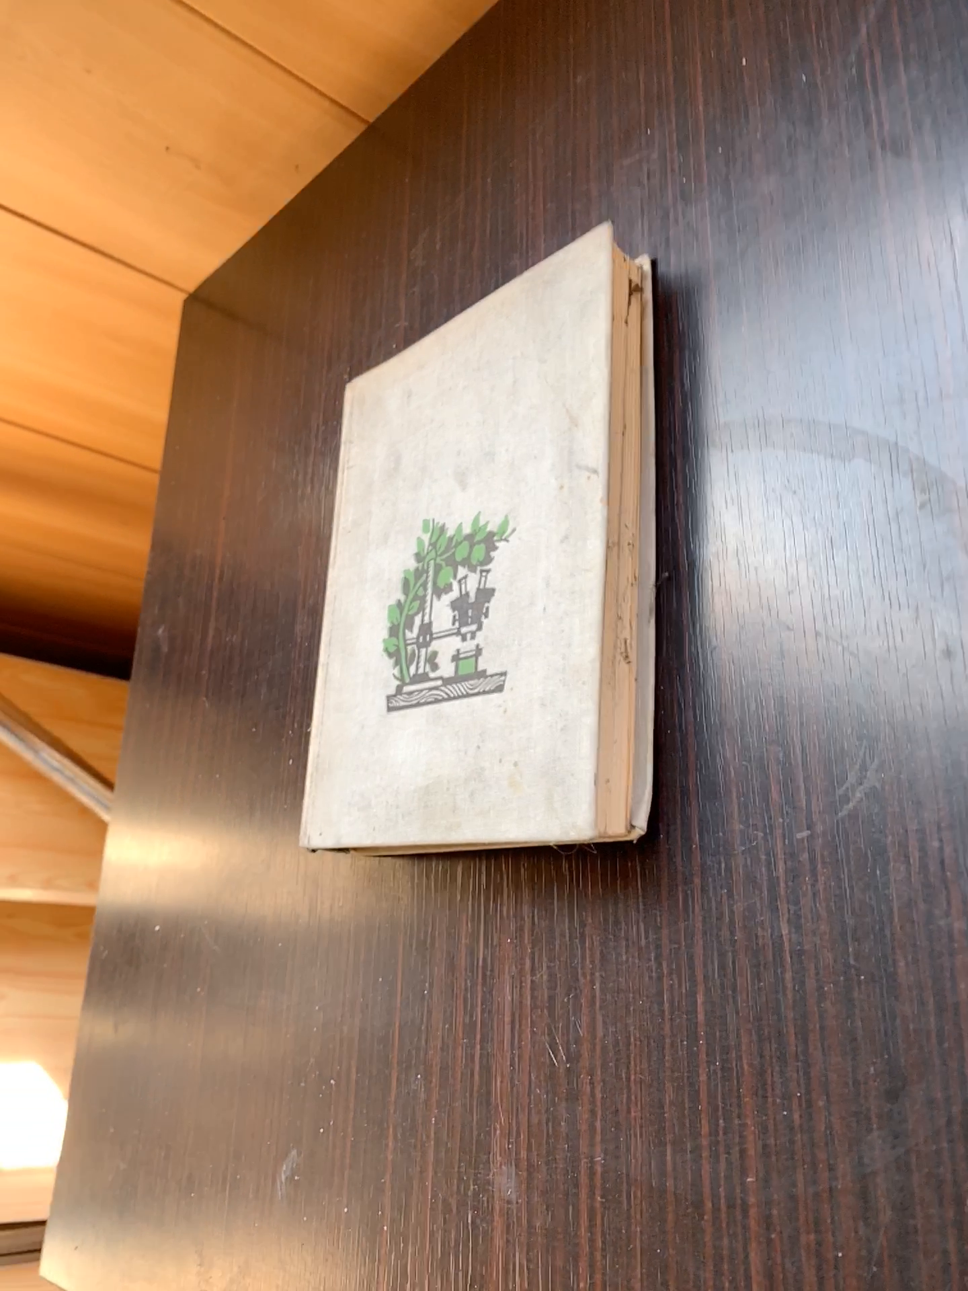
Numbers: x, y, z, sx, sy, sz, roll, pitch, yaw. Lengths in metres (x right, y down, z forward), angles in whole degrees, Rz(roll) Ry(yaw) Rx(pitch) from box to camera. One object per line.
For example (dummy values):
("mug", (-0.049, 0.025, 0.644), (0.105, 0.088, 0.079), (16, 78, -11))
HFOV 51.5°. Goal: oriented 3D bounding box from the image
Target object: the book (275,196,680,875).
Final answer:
("book", (-0.005, -0.021, 0.295), (0.136, 0.027, 0.169), (-15, 65, 47))
